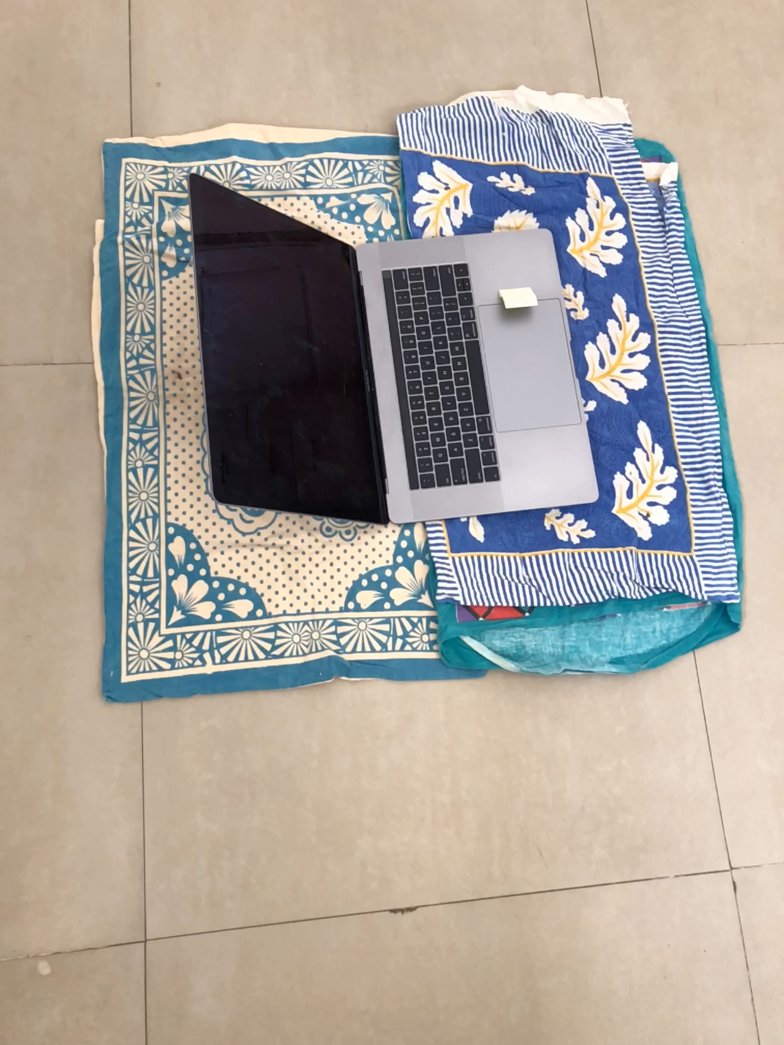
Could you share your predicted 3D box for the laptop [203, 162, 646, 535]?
[{"bbox_3d":[0.019,-0.184,0.912,0.401,0.132,0.336,-6,76,-6],"label":"laptop"}]
